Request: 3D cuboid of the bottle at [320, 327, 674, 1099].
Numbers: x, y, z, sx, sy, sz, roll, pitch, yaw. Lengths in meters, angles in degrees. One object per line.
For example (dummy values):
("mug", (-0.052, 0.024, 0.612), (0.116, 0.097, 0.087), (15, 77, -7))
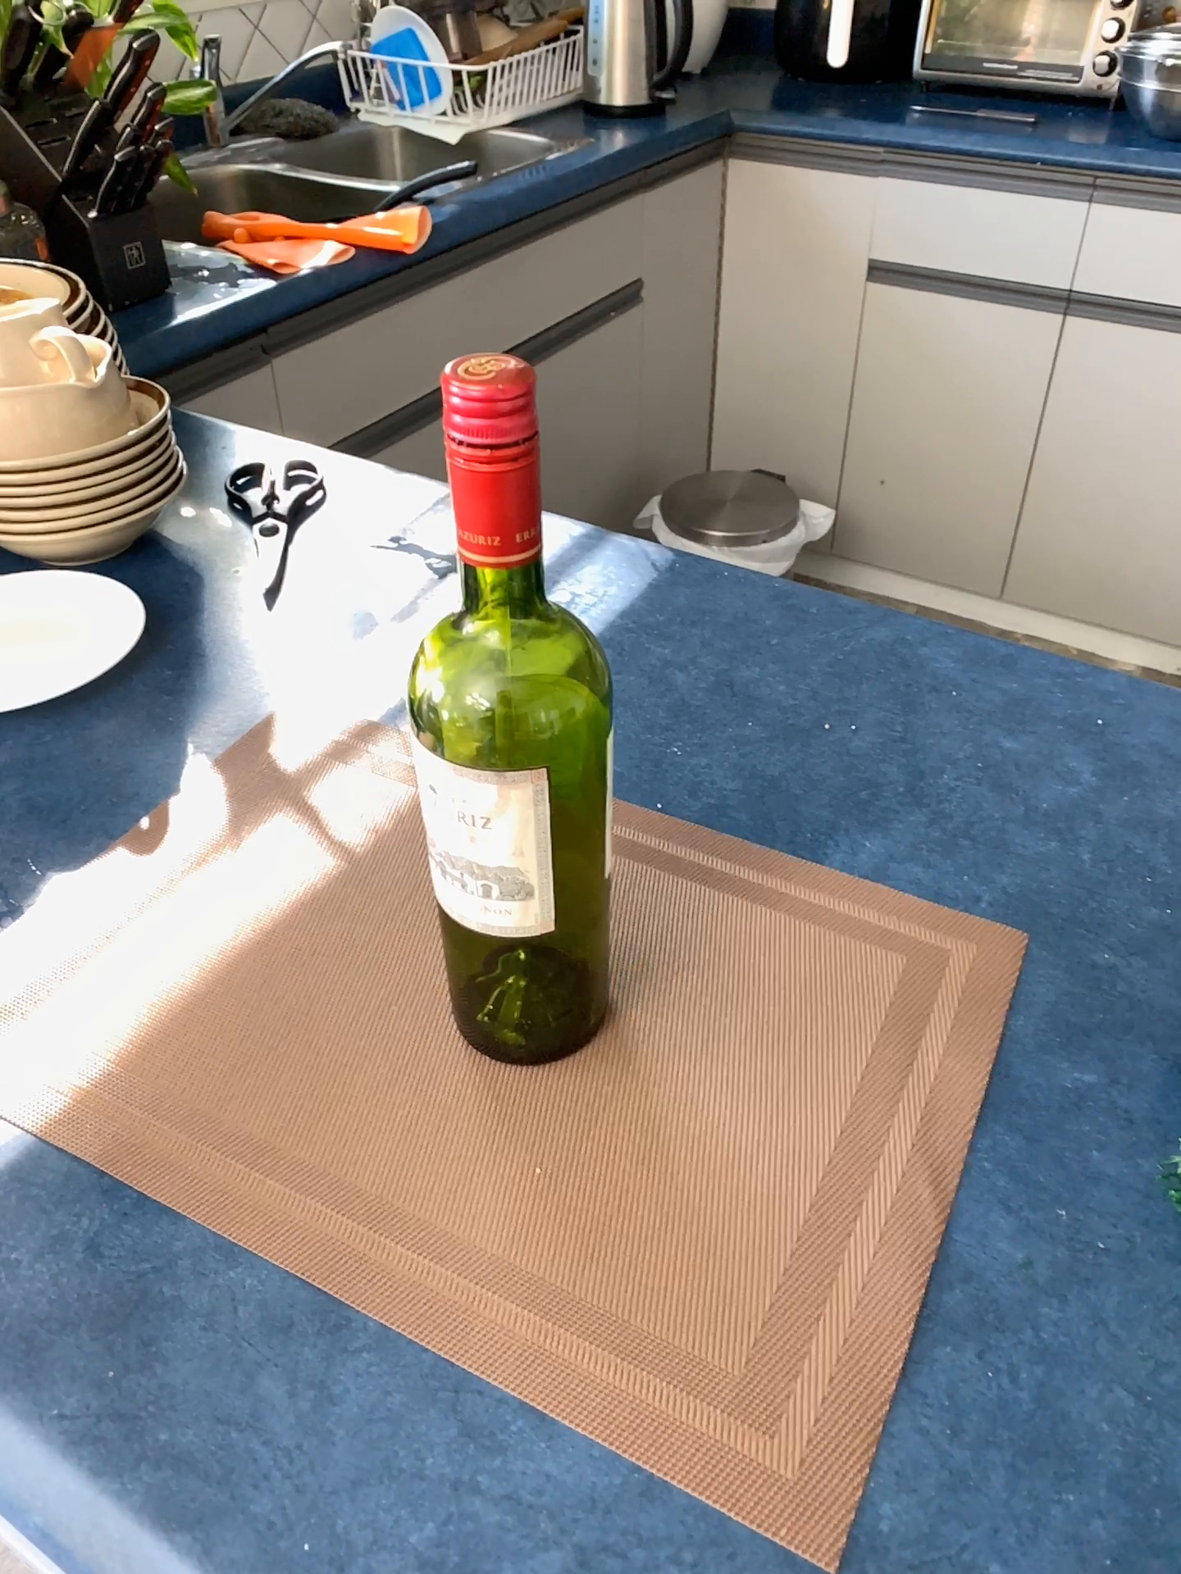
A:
("bottle", (-0.028, -0.014, 0.457), (0.080, 0.277, 0.081), (-1, 38, 0))
